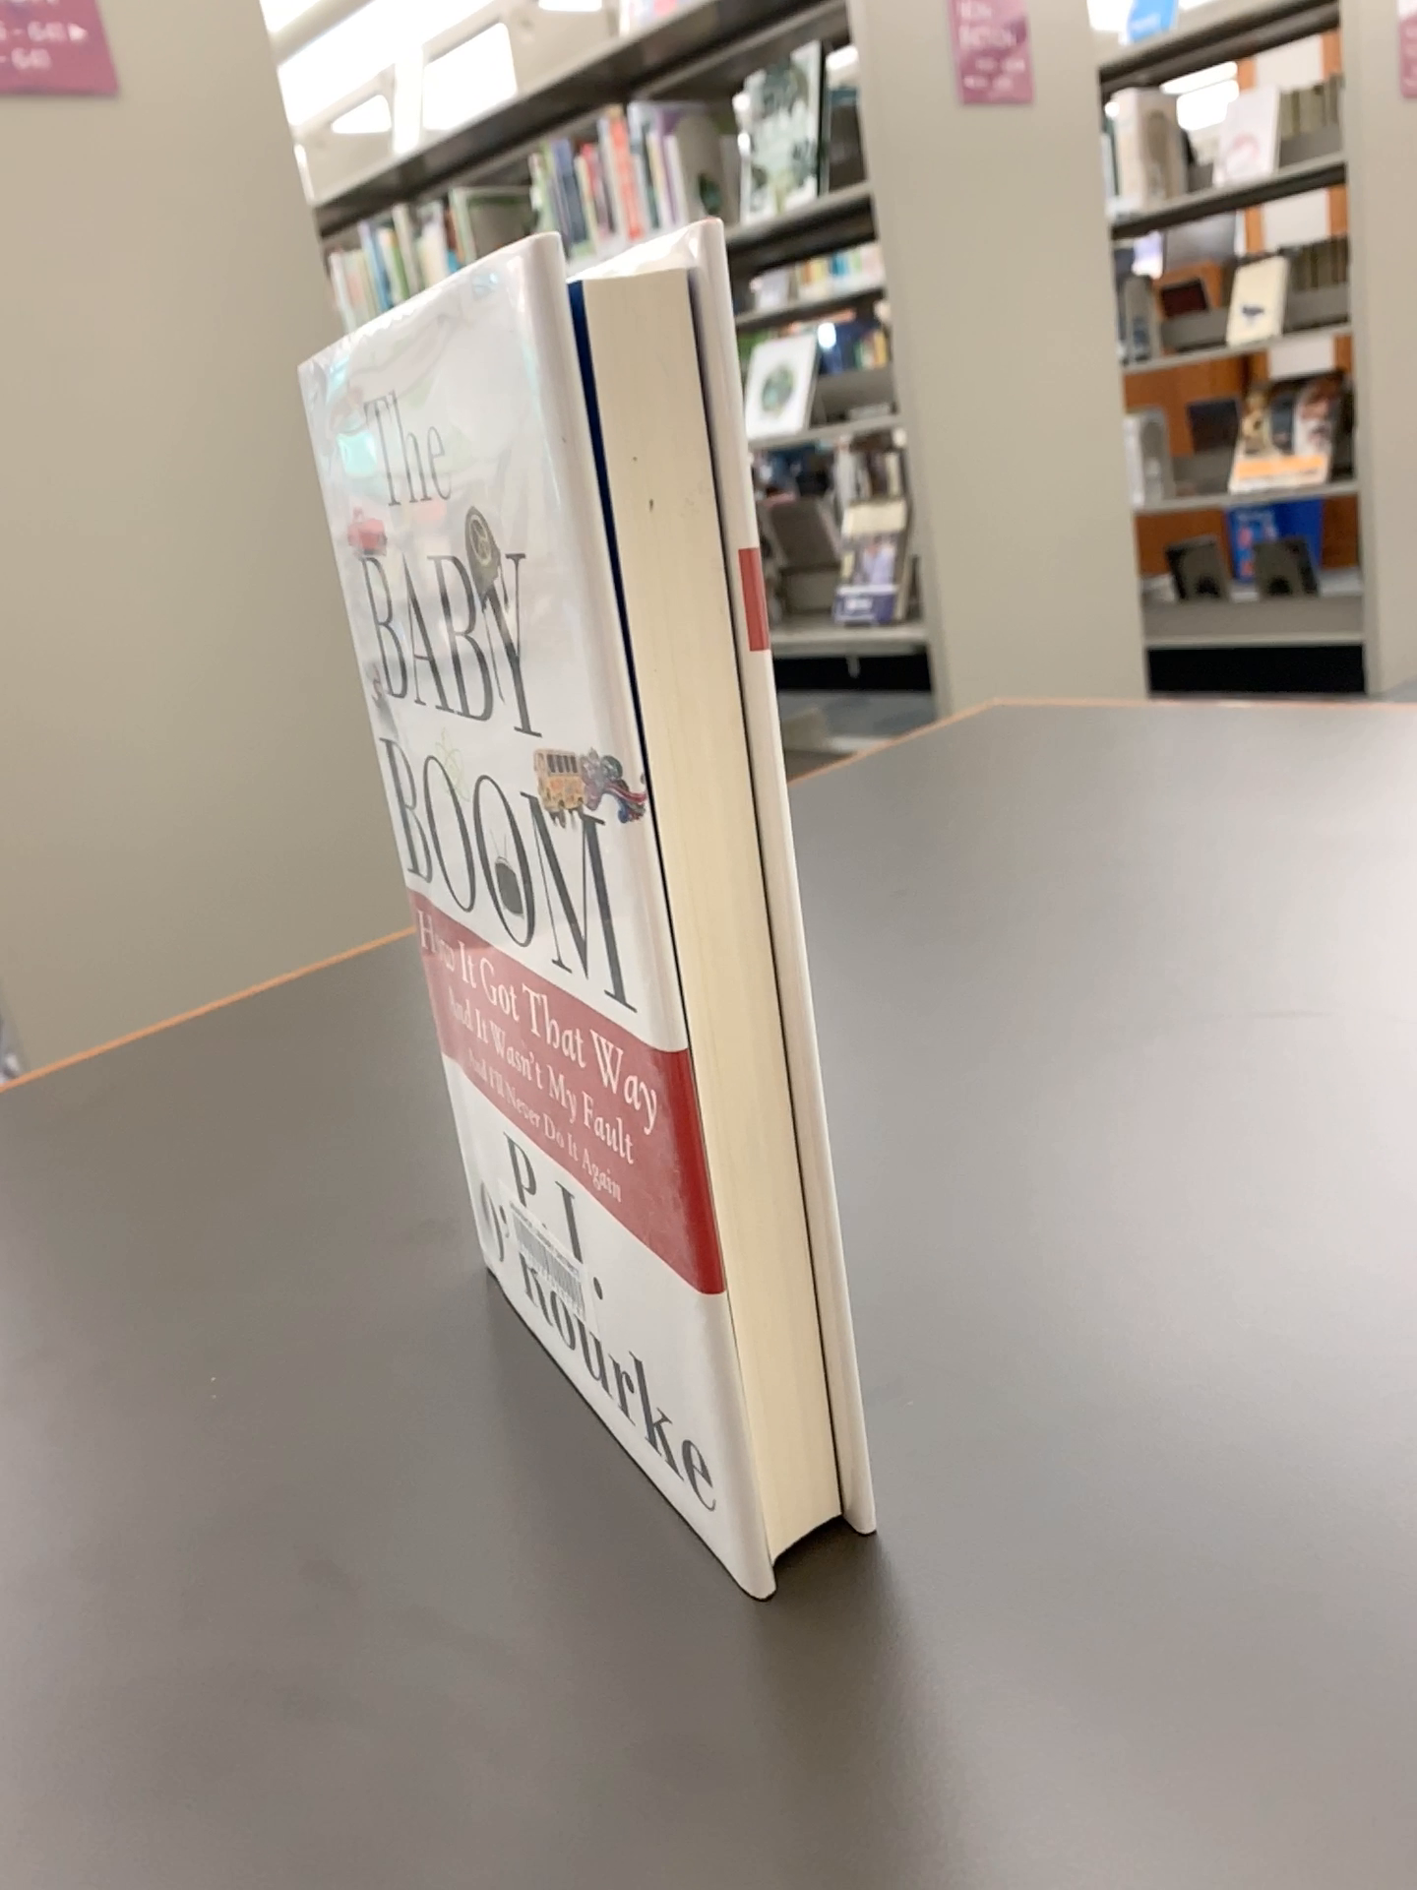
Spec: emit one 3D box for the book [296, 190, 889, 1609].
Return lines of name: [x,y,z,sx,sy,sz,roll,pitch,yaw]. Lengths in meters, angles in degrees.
book: [-0.030,-0.011,0.306,0.030,0.231,0.161,-15,18,-24]
